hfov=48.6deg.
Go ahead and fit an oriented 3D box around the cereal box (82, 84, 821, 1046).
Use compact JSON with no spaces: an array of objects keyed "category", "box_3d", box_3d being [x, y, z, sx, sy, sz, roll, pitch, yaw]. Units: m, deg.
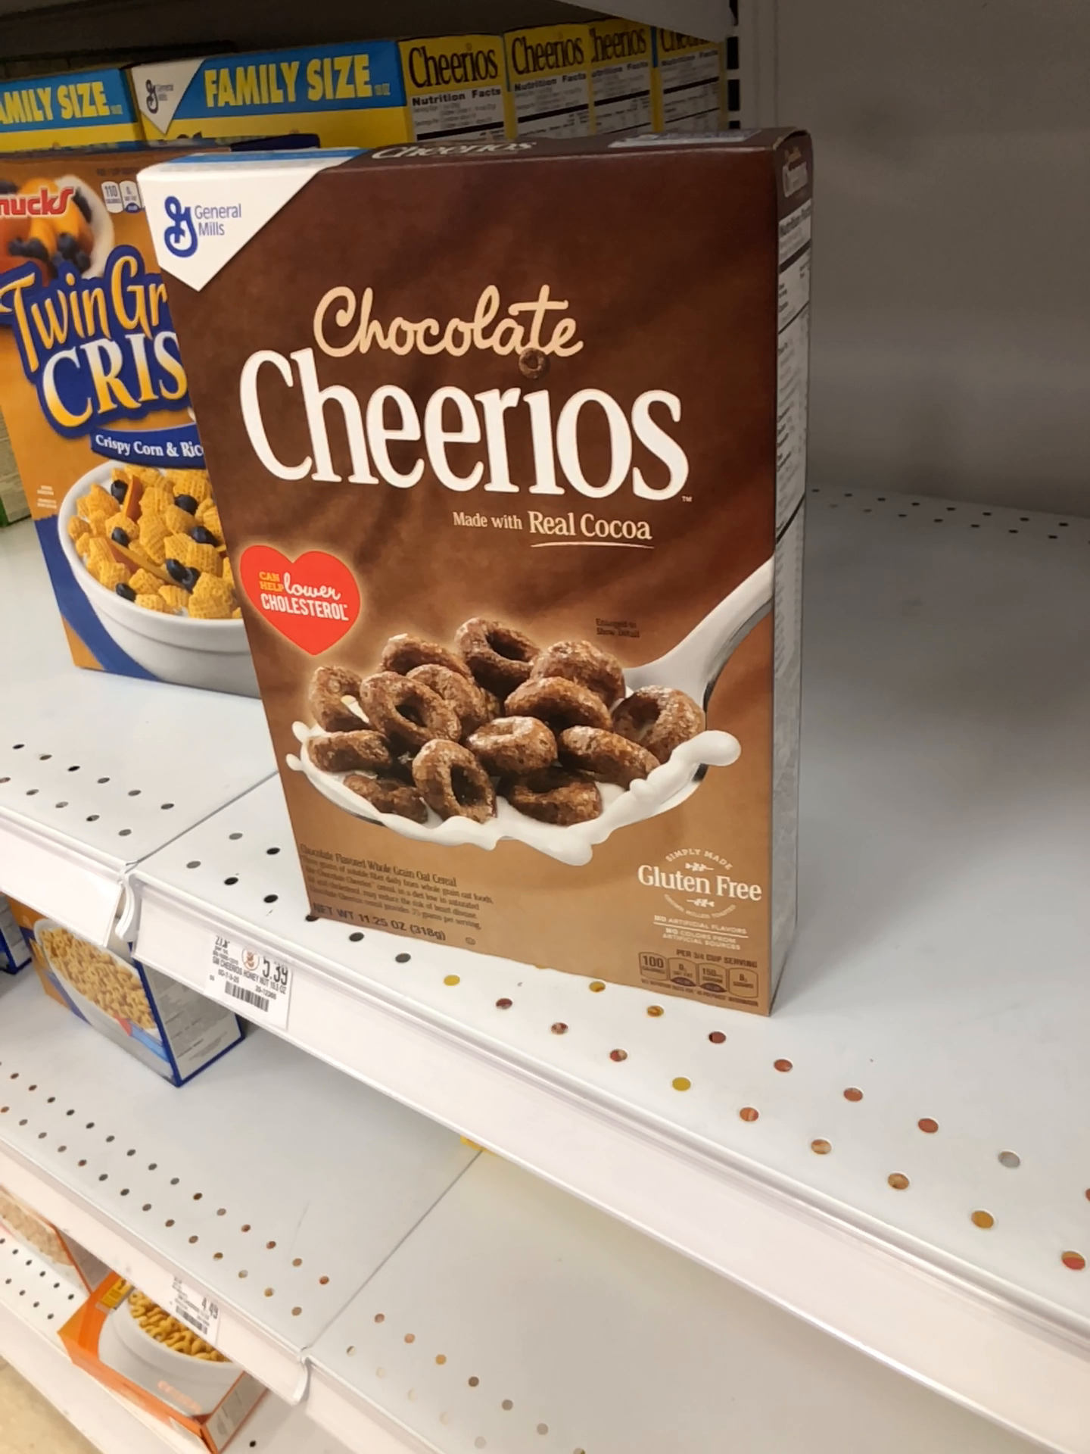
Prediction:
[{"category":"cereal box","box_3d":[-0.014,-0.041,0.405,0.200,0.289,0.060,8,34,24]}]
